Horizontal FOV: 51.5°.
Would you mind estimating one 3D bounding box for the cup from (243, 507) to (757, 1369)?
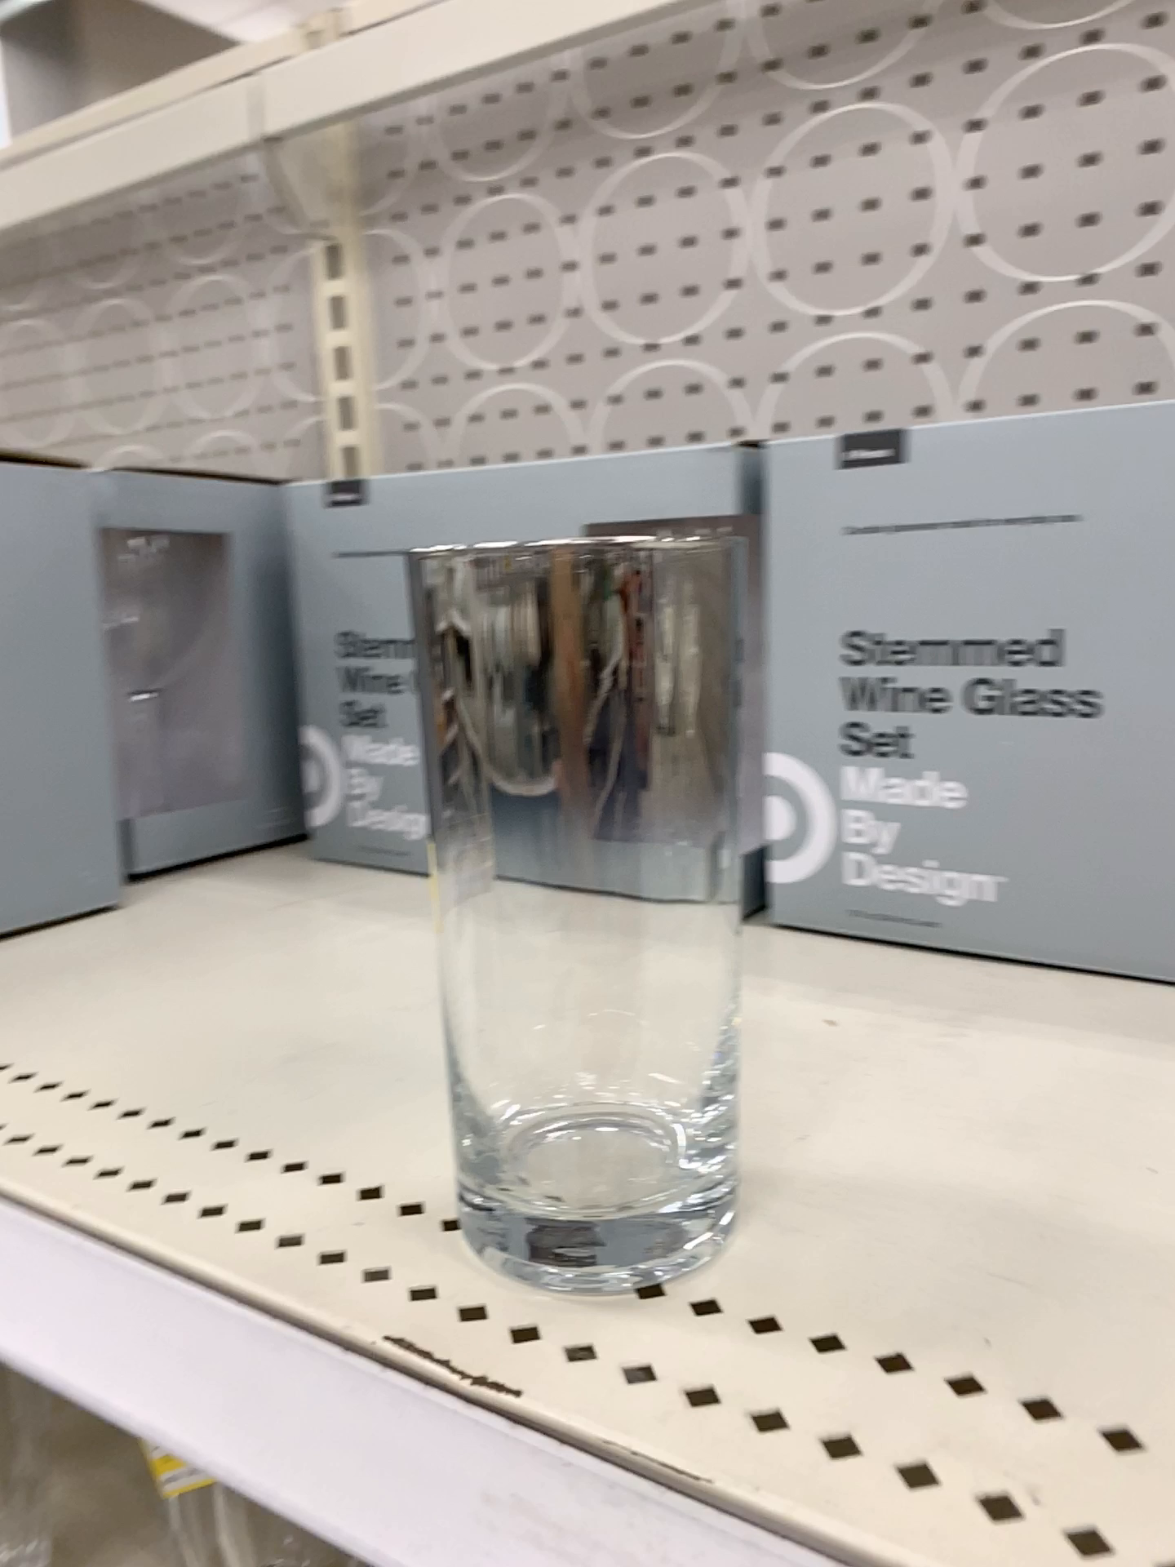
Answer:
[{"bbox_3d":[-0.009,0.024,0.250,0.080,0.150,0.080,-3,10,0],"label":"cup"}]
